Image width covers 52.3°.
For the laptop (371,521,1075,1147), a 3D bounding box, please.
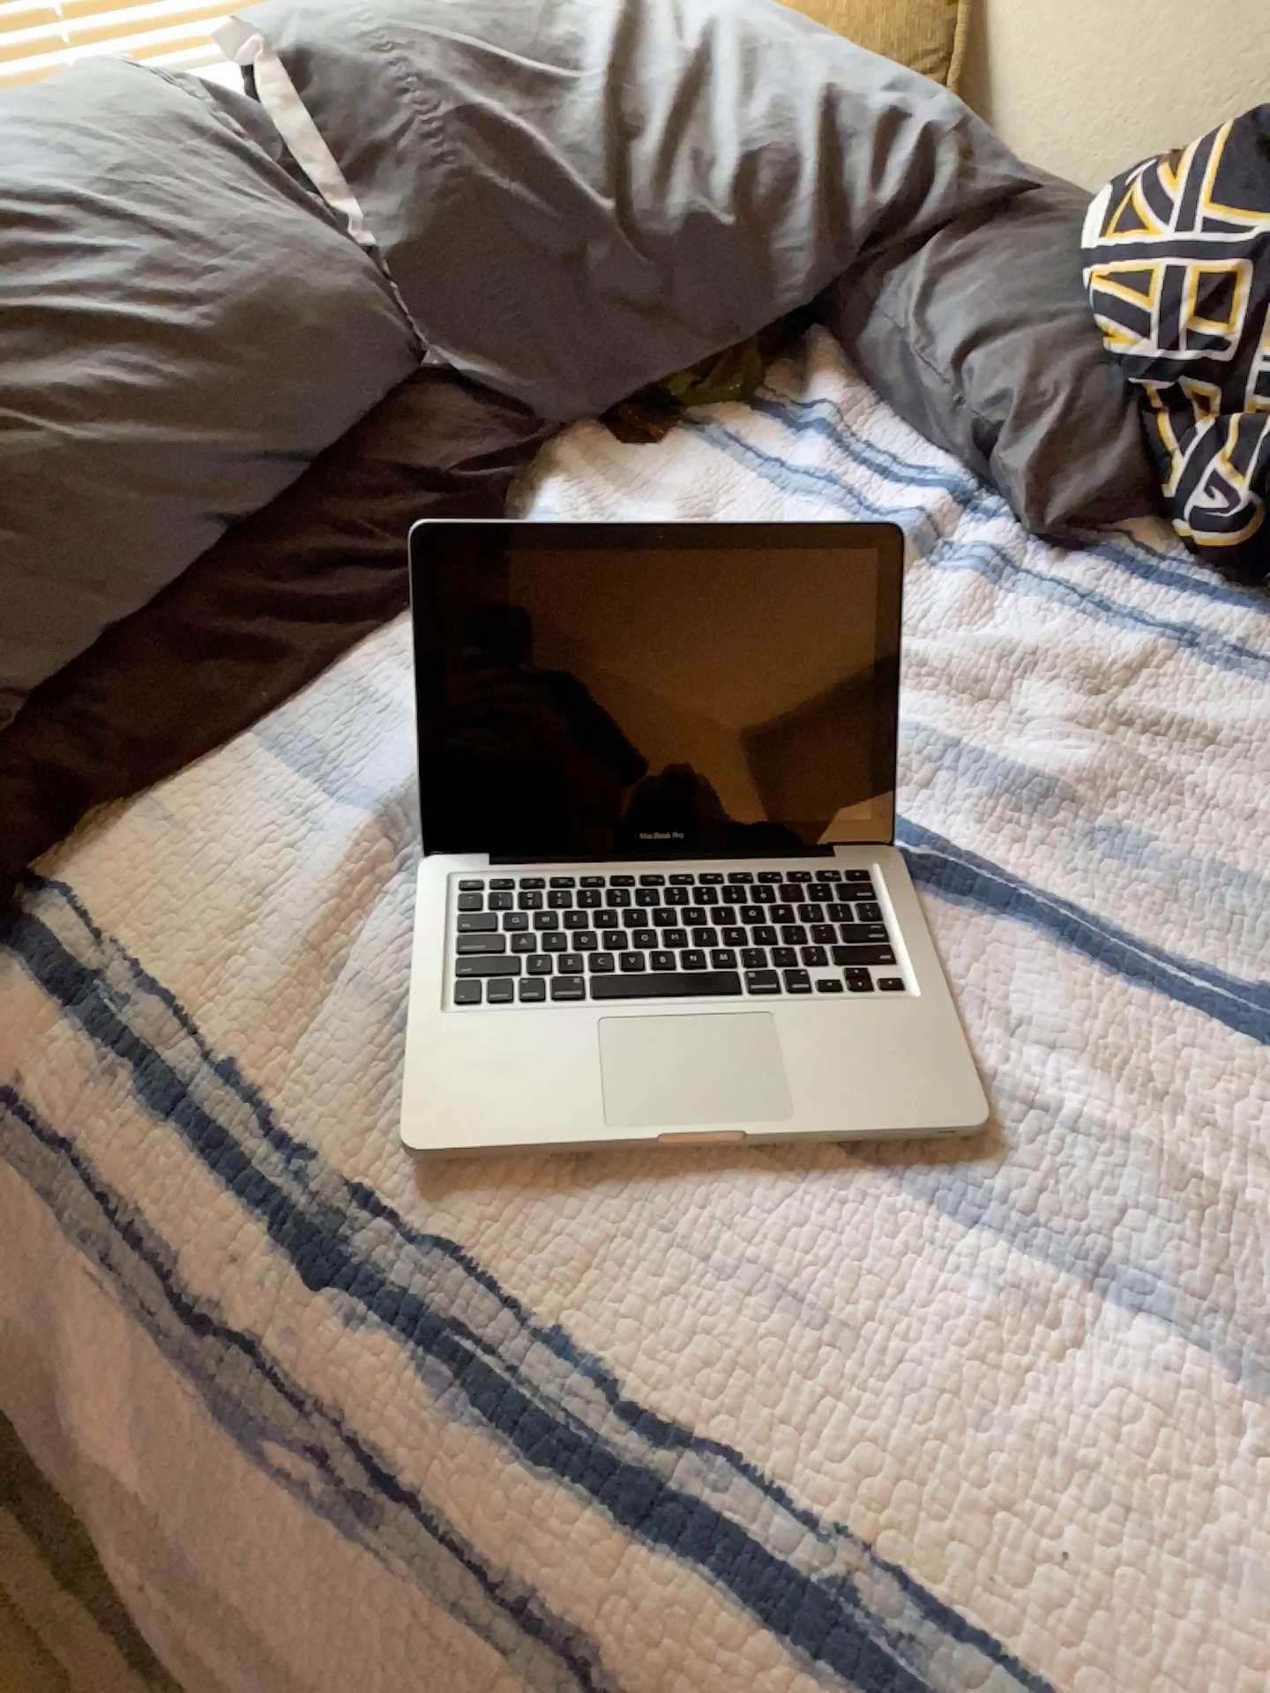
[{"bbox_3d":[0.024,-0.026,0.760,0.320,0.165,0.347,-2,45,-6],"label":"laptop"}]
